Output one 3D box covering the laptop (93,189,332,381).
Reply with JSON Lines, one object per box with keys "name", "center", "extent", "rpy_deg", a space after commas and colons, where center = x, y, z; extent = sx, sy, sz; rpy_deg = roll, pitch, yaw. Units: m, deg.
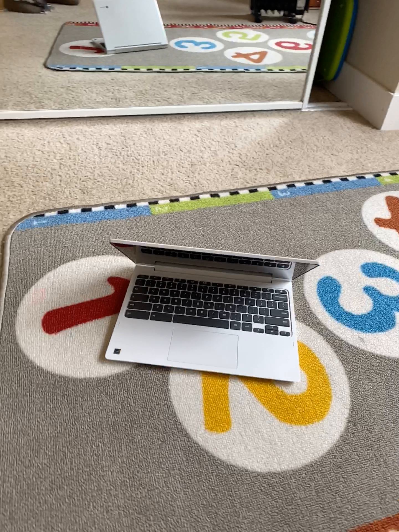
{"name": "laptop", "center": [0.022, 0.022, 0.639], "extent": [0.298, 0.162, 0.217], "rpy_deg": [7, 42, 2]}
